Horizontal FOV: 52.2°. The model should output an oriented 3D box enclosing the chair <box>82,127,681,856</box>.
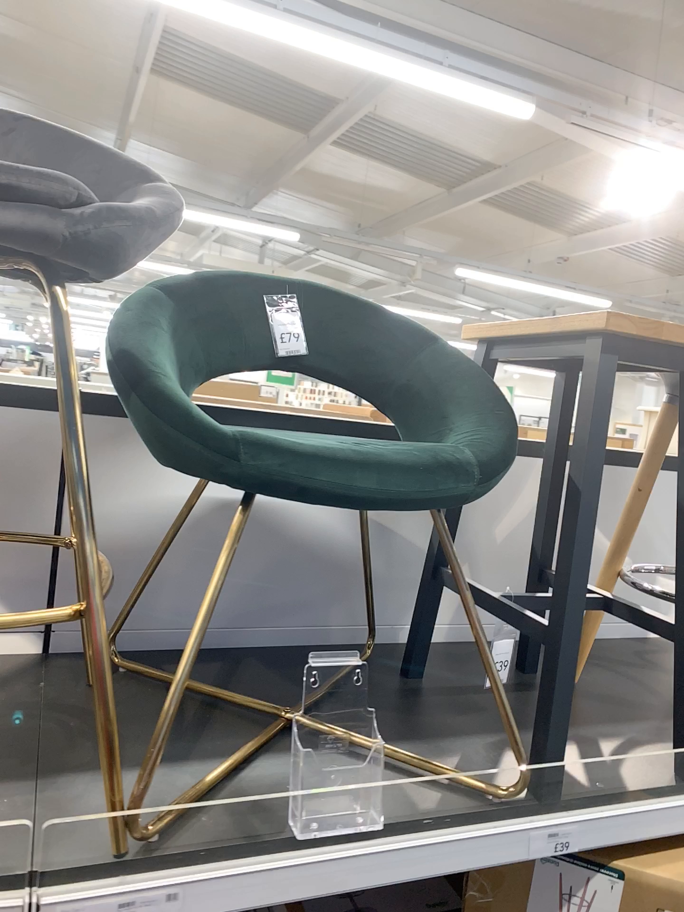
[{"bbox_3d":[-0.030,0.032,1.090,0.634,0.700,0.670,6,4,-22],"label":"chair"}]
